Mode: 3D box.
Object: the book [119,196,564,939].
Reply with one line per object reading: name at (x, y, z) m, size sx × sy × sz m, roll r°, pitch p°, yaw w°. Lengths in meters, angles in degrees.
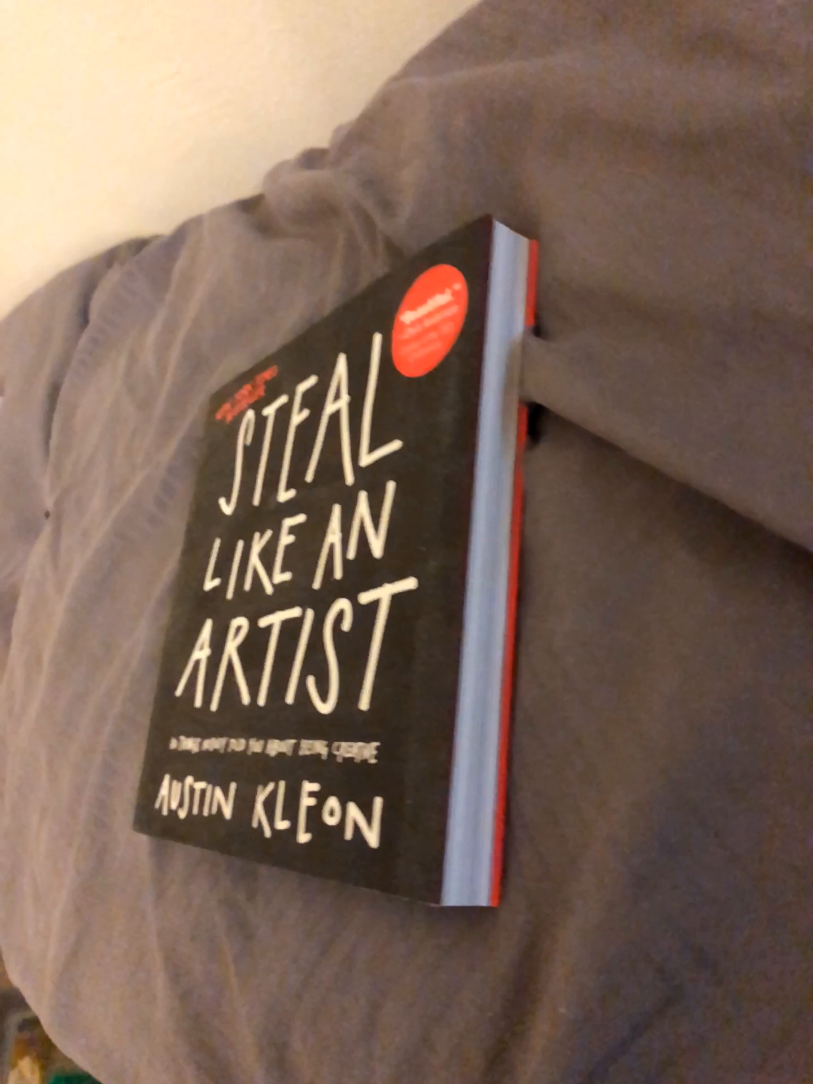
book at (-0.027, 0.011, 0.257) m, size 0.161 × 0.020 × 0.160 m, roll -14°, pitch 66°, yaw 50°
